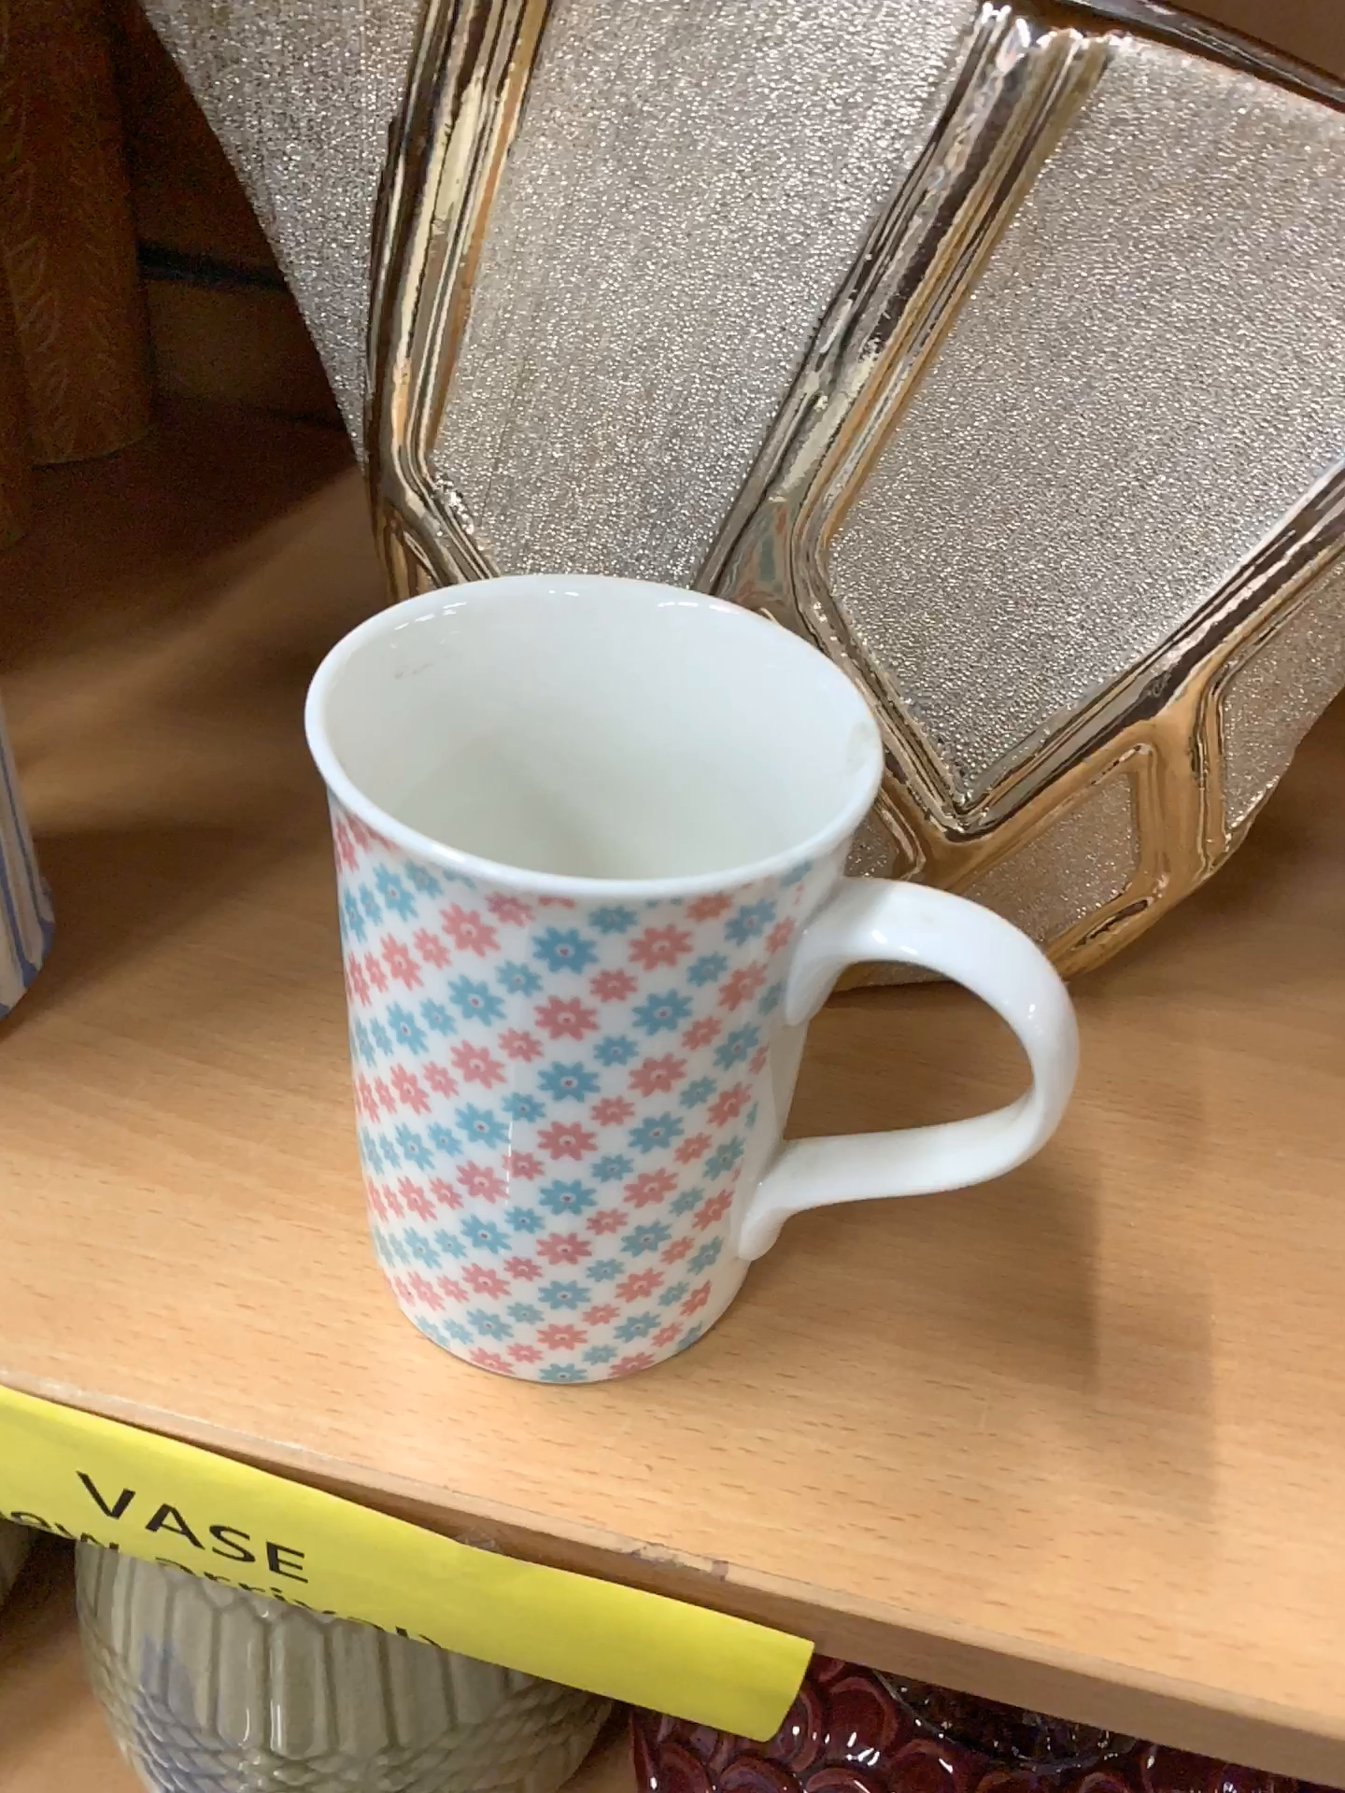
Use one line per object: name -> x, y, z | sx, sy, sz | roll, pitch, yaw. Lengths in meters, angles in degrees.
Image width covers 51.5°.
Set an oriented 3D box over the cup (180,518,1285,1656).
cup -> 0.007, 0.023, 0.212 | 0.120, 0.110, 0.080 | 21, 40, 17
